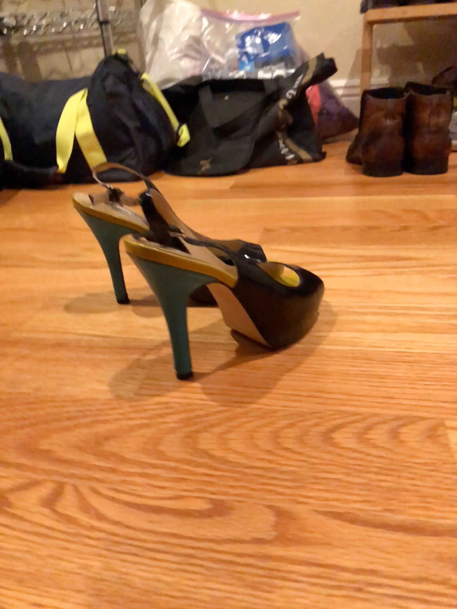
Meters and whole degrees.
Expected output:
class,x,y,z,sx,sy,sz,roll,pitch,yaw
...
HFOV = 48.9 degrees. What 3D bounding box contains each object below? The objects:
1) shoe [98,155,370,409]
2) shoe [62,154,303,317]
class,x,y,z,sx,sy,sz,roll,pitch,yaw
shoe,0.017,-0.033,0.406,0.201,0.131,0.085,-25,32,-36
shoe,-0.037,-0.070,0.490,0.204,0.121,0.085,-5,25,-1
